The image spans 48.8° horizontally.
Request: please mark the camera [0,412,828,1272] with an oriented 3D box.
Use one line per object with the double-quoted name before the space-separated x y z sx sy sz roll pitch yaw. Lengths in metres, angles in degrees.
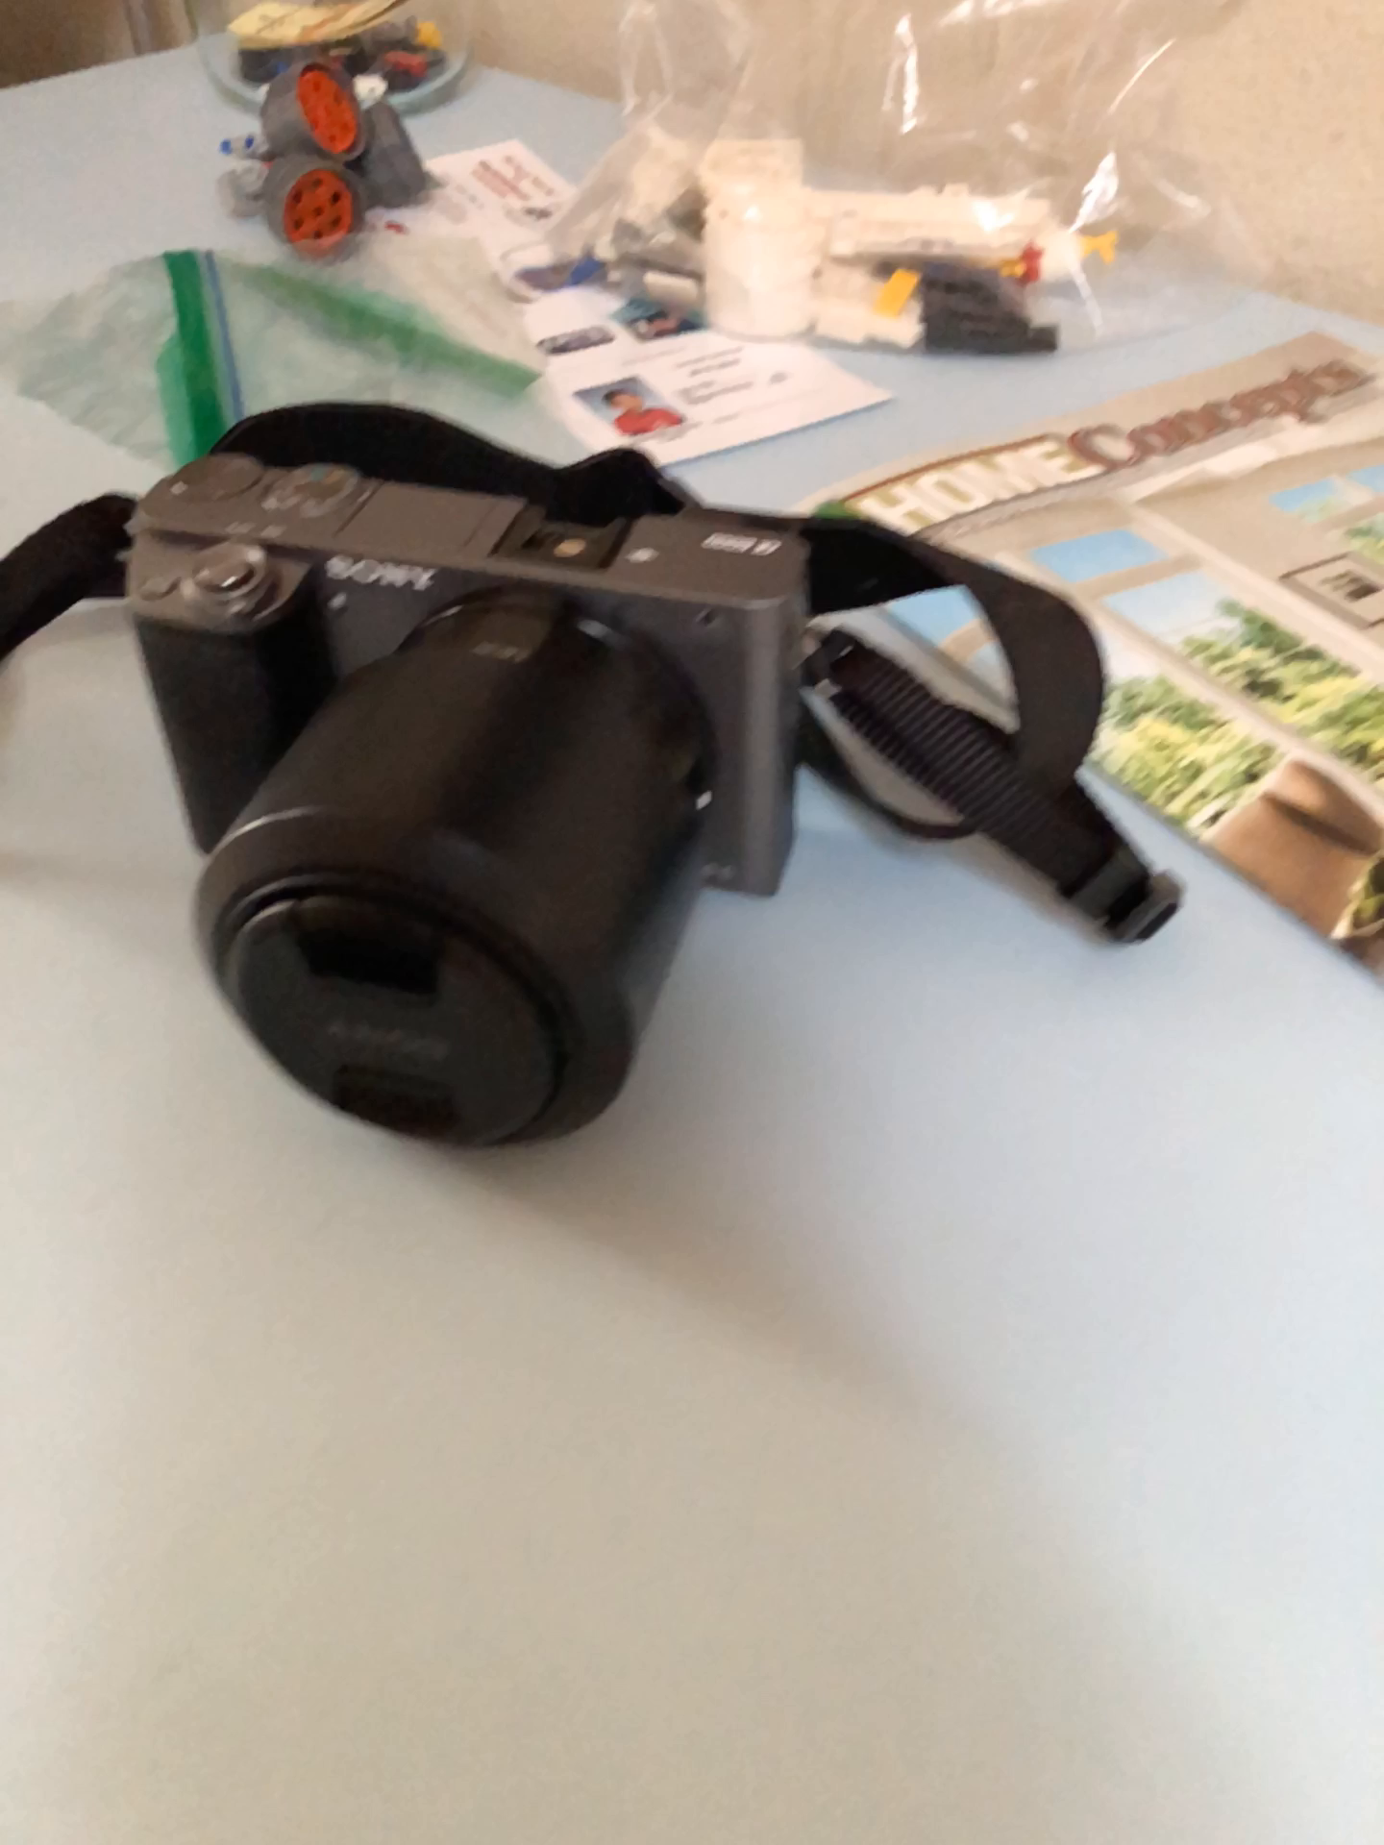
"camera" -0.054 -0.021 0.258 0.130 0.070 0.111 11 45 12
